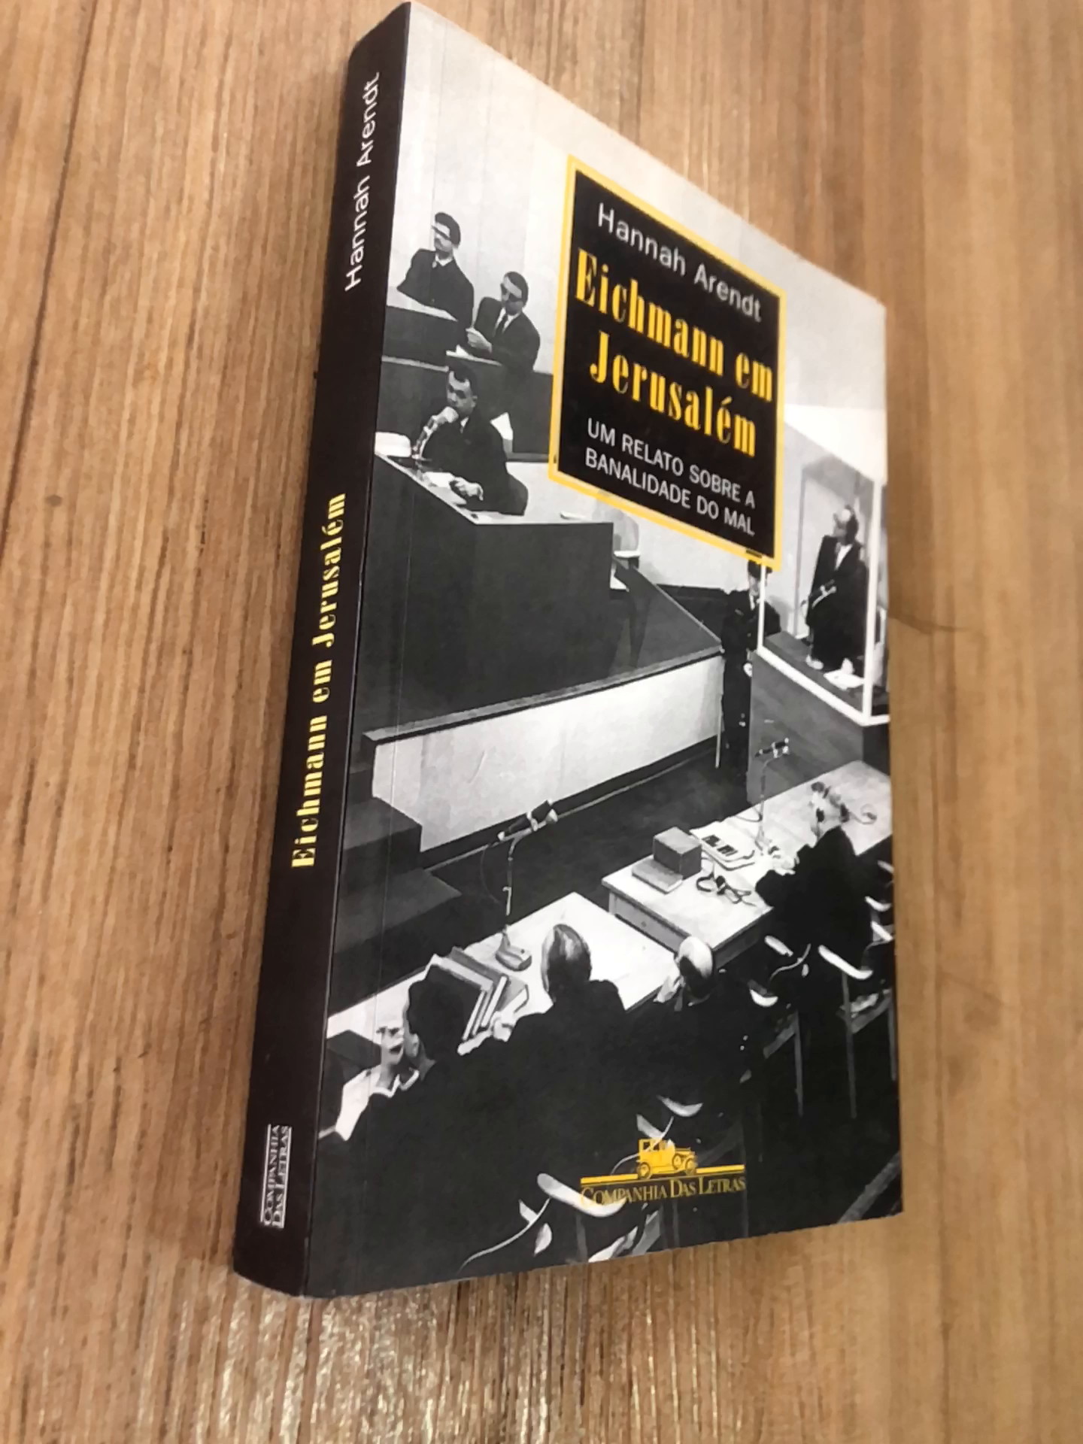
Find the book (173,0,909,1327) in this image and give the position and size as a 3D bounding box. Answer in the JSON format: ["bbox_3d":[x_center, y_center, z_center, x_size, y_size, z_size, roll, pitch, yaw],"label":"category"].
[{"bbox_3d":[0.015,-0.010,0.226,0.141,0.030,0.200,14,74,-40],"label":"book"}]
